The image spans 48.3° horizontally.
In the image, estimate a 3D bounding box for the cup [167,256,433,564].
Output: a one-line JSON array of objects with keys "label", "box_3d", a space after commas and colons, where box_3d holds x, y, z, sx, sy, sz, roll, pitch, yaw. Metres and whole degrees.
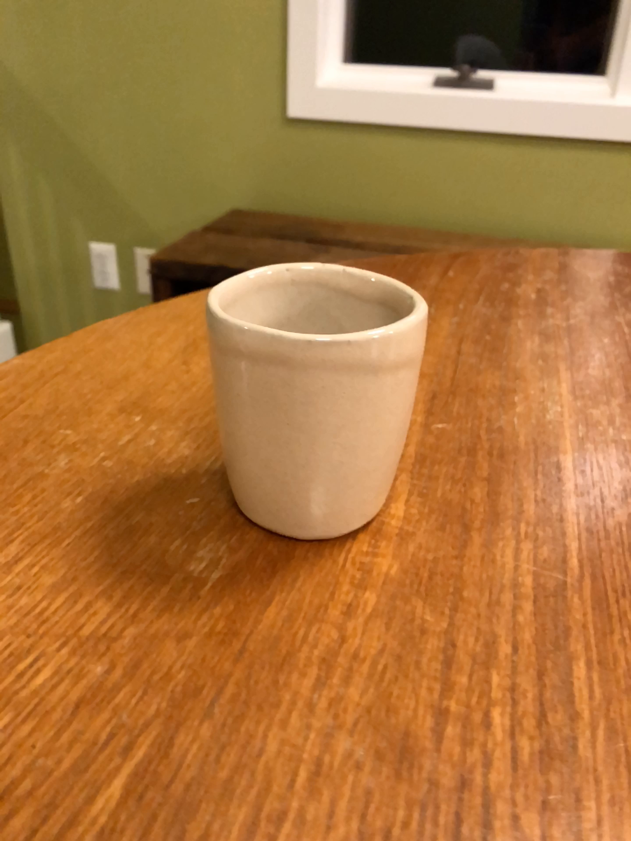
[{"label": "cup", "box_3d": [-0.002, -0.009, 0.284, 0.084, 0.086, 0.083, 2, 29, -1]}]
